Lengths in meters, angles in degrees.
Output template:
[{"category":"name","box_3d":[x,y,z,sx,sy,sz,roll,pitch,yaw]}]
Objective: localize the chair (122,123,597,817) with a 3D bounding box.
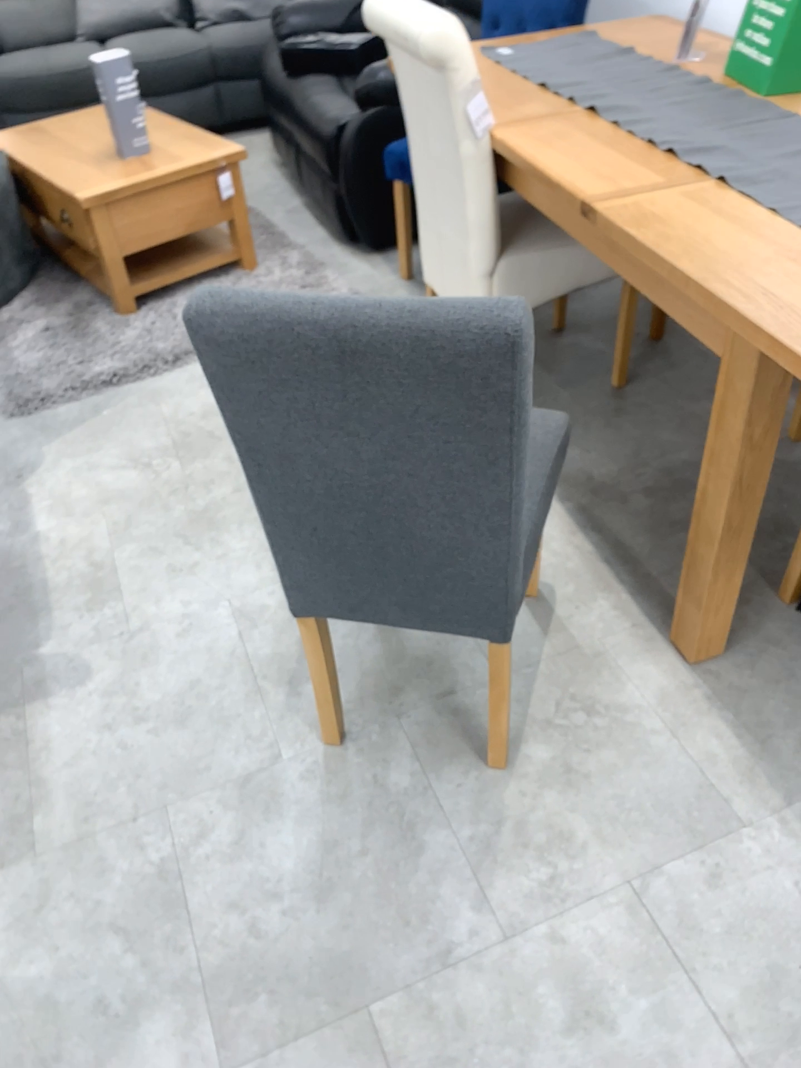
[{"category":"chair","box_3d":[0.031,-0.102,1.298,0.444,0.830,0.648,6,43,12]}]

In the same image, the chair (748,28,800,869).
[{"category":"chair","box_3d":[1.004,-0.112,1.174,0.504,0.899,0.628,-16,43,-12]}]
